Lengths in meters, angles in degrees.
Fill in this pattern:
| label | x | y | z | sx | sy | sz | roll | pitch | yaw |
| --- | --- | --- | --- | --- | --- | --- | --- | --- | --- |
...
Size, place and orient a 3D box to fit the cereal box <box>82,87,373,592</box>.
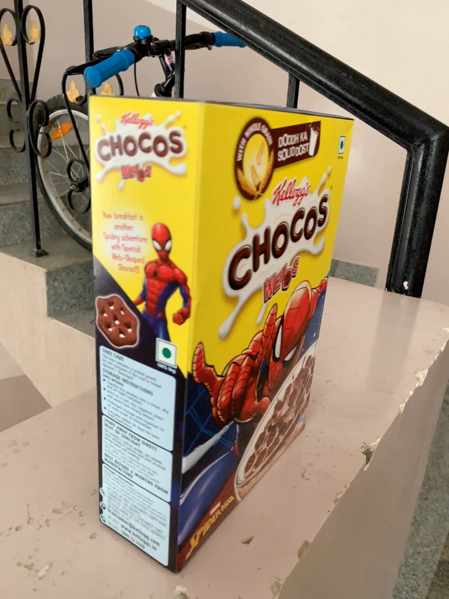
| label | x | y | z | sx | sy | sz | roll | pitch | yaw |
| --- | --- | --- | --- | --- | --- | --- | --- | --- | --- |
| cereal box | 0.011 | 0.008 | 0.301 | 0.070 | 0.248 | 0.191 | 17 | 24 | 30 |
